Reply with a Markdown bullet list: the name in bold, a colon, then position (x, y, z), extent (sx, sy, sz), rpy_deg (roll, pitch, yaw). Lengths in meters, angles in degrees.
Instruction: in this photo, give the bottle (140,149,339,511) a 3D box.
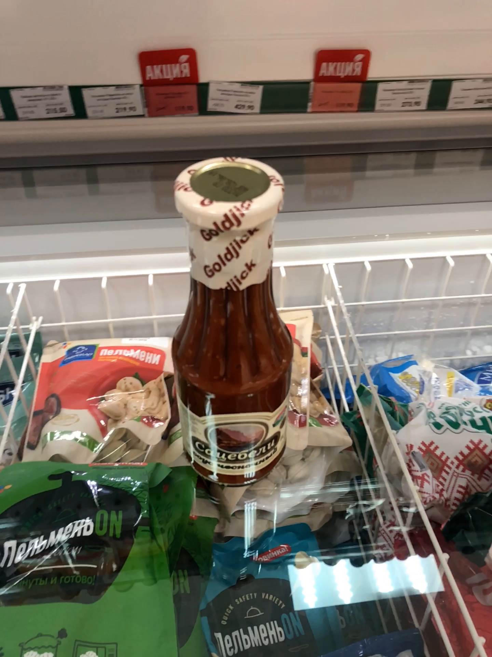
- **bottle**: position (-0.007, 0.012, 0.275), extent (0.070, 0.179, 0.070), rpy_deg (0, 43, 0)
